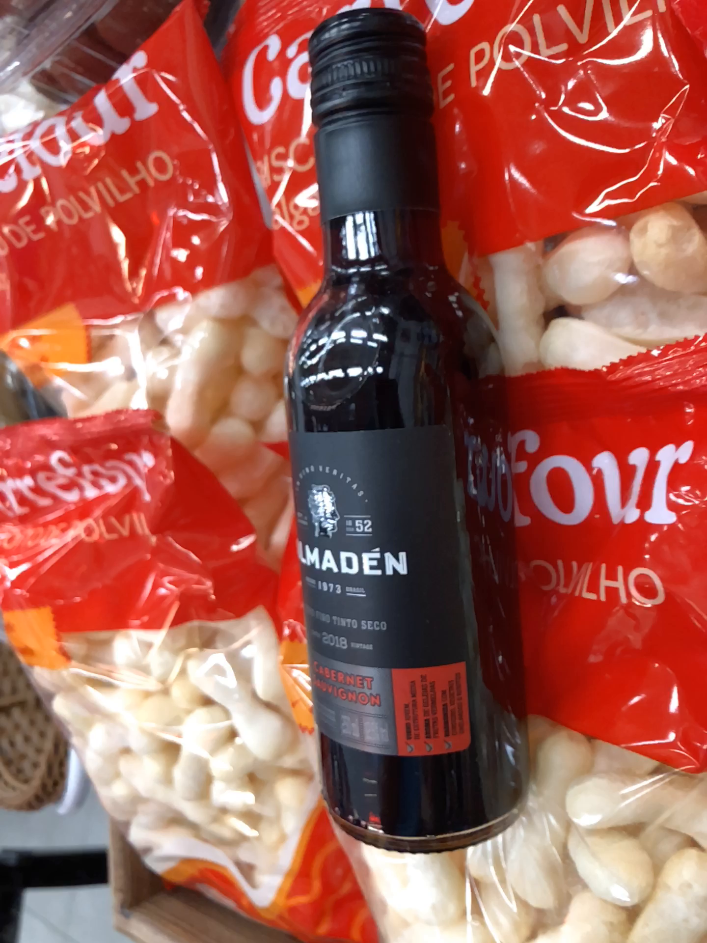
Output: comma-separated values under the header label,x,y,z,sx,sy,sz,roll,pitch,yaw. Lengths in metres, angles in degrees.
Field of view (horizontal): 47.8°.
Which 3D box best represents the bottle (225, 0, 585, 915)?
label,x,y,z,sx,sy,sz,roll,pitch,yaw
bottle,0.013,-0.015,0.190,0.060,0.050,0.200,1,96,42
